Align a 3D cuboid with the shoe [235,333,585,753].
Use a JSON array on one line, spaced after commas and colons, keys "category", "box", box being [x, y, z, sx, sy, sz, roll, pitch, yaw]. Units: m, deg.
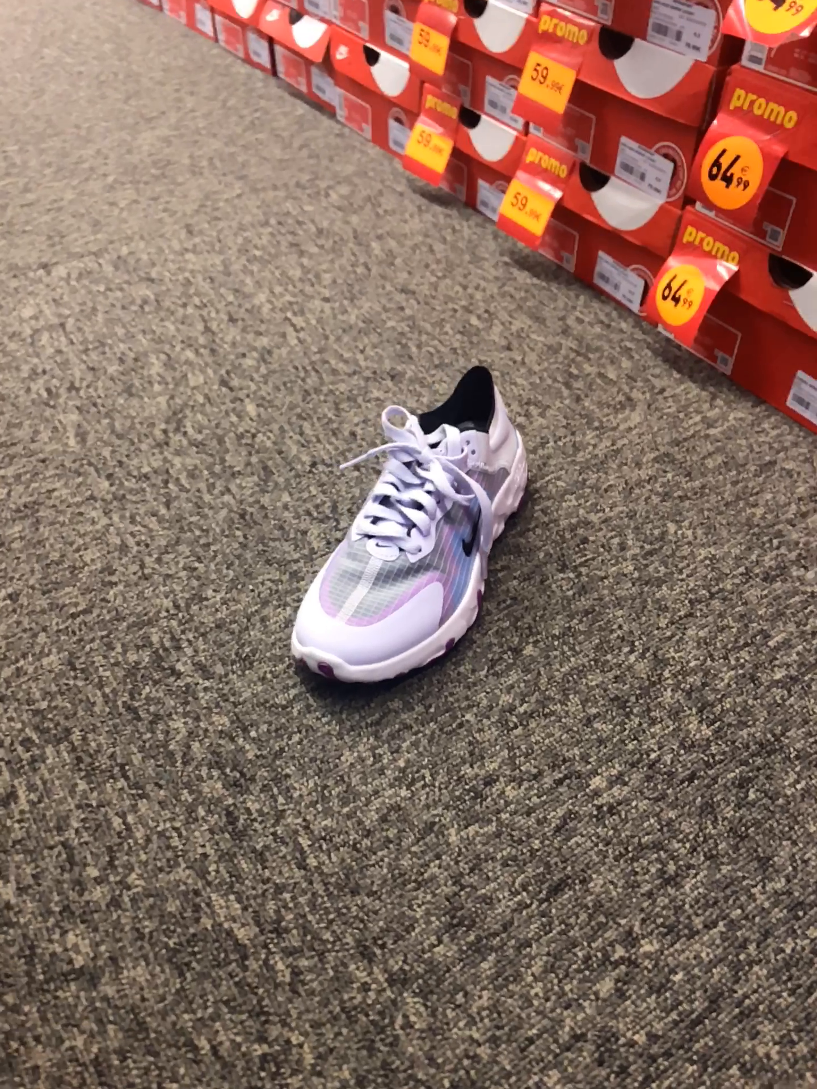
[{"category": "shoe", "box": [0.014, -0.016, 0.569, 0.100, 0.099, 0.262, 20, 48, 19]}]
